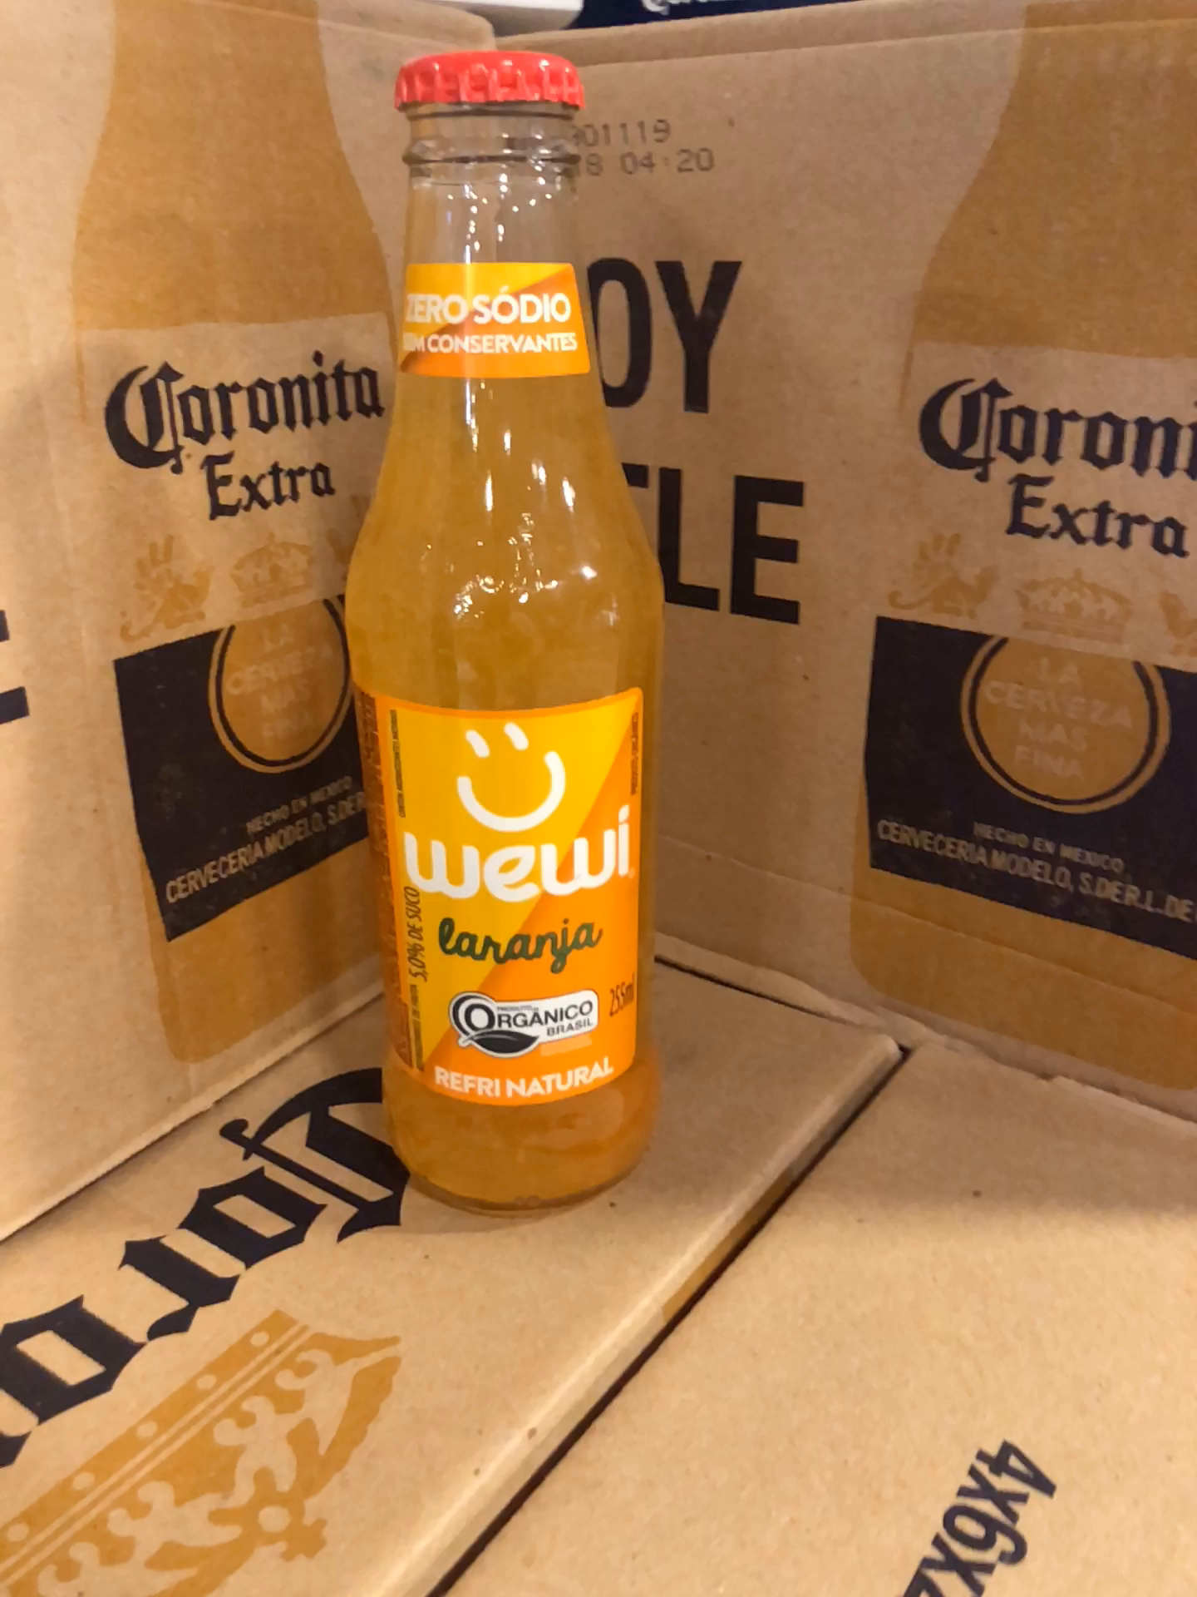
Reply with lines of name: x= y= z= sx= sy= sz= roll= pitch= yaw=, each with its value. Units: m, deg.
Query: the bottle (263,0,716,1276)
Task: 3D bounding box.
bottle: x=-0.017 y=-0.020 z=0.243 sx=0.060 sy=0.209 sz=0.060 roll=0 pitch=21 yaw=0
